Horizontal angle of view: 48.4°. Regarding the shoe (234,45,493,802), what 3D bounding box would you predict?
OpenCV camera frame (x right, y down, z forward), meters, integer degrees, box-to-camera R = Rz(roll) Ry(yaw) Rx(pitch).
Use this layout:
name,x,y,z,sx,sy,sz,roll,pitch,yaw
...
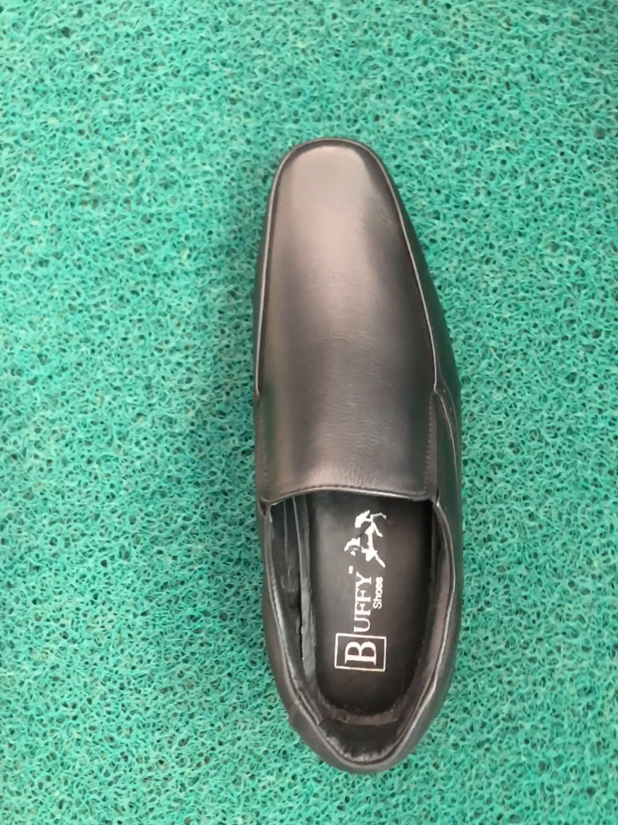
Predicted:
name,x,y,z,sx,sy,sz,roll,pitch,yaw
shoe,0.024,0.005,0.330,0.100,0.090,0.310,-1,89,3
